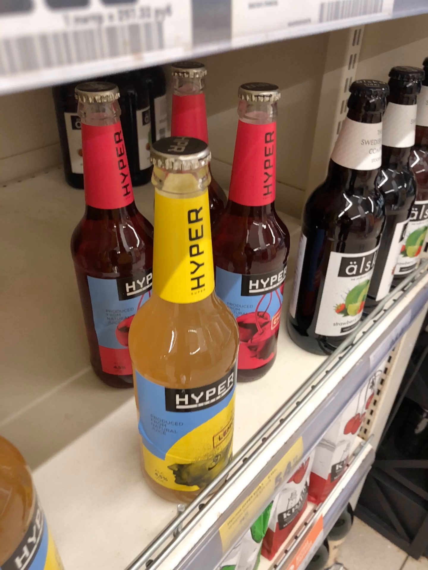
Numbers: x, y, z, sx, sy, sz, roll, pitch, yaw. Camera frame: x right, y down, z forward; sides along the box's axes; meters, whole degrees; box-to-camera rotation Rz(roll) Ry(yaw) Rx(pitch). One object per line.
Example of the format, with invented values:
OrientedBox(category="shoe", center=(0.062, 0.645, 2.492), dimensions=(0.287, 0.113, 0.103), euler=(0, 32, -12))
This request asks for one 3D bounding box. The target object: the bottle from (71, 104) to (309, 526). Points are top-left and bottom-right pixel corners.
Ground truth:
OrientedBox(category="bottle", center=(-0.016, 0.029, 0.286), dimensions=(0.080, 0.239, 0.080), euler=(1, 36, -1))
